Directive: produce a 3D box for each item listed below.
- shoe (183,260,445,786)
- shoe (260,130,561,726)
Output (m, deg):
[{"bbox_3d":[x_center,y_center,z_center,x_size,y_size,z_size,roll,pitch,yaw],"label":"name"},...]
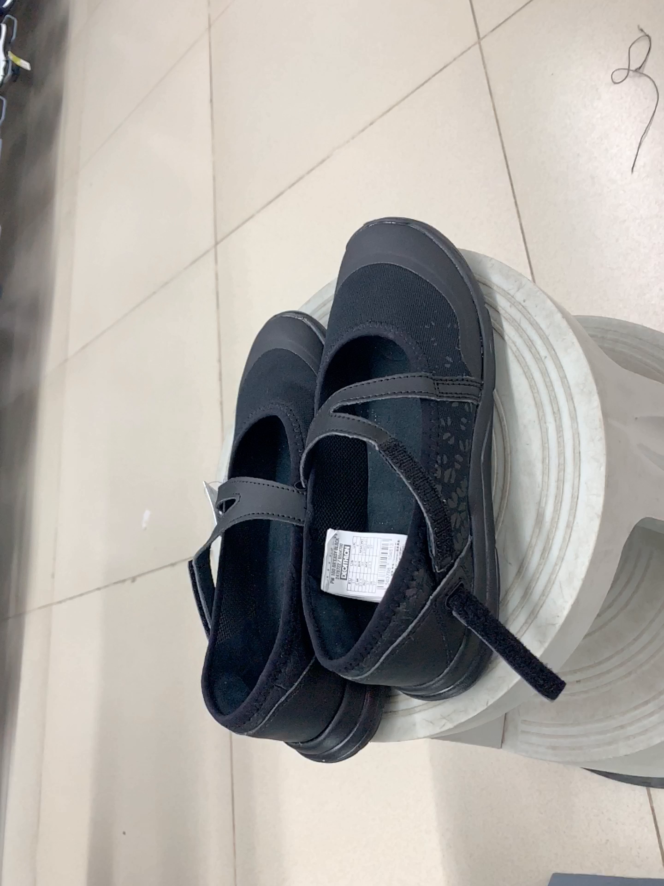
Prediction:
[{"bbox_3d":[-0.019,0.041,0.371,0.090,0.080,0.250,-24,62,38],"label":"shoe"},{"bbox_3d":[0.029,-0.003,0.331,0.101,0.080,0.250,-18,66,40],"label":"shoe"}]
